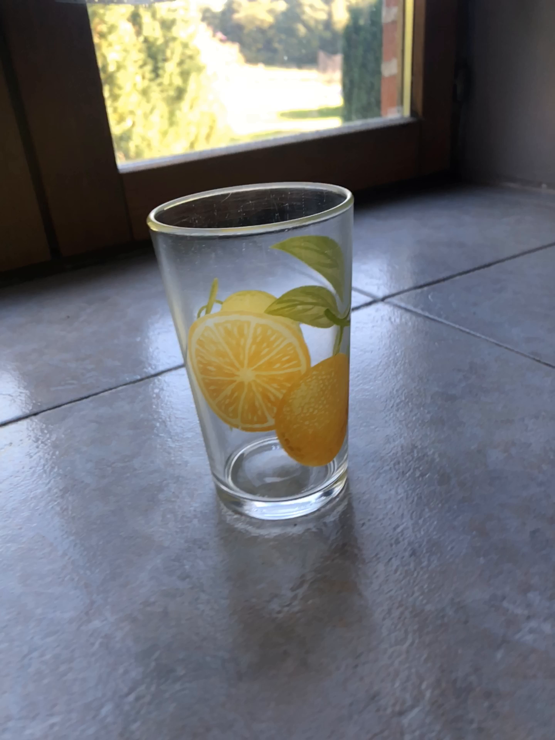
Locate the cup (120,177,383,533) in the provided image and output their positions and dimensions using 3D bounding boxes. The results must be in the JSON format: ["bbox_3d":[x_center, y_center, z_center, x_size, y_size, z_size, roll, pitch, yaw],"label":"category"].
[{"bbox_3d":[-0.002,-0.010,0.241,0.069,0.112,0.070,-4,28,2],"label":"cup"}]
